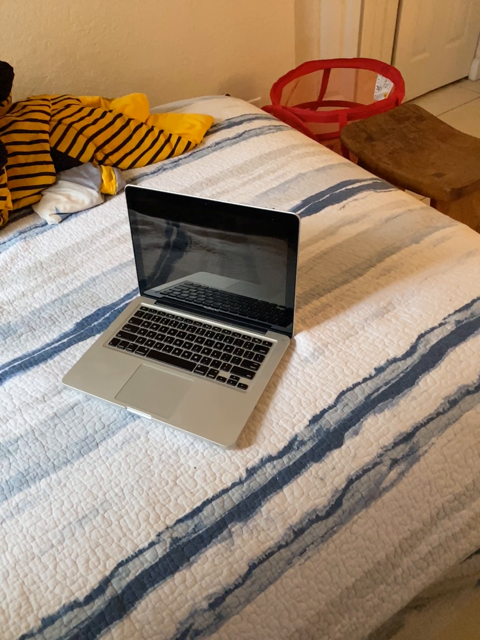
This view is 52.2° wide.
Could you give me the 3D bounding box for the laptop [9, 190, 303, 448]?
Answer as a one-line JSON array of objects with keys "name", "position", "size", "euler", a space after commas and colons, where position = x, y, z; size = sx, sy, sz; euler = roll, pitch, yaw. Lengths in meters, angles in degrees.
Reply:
[{"name": "laptop", "position": [-0.102, -0.022, 0.757], "size": [0.319, 0.199, 0.279], "euler": [15, 49, 22]}]
